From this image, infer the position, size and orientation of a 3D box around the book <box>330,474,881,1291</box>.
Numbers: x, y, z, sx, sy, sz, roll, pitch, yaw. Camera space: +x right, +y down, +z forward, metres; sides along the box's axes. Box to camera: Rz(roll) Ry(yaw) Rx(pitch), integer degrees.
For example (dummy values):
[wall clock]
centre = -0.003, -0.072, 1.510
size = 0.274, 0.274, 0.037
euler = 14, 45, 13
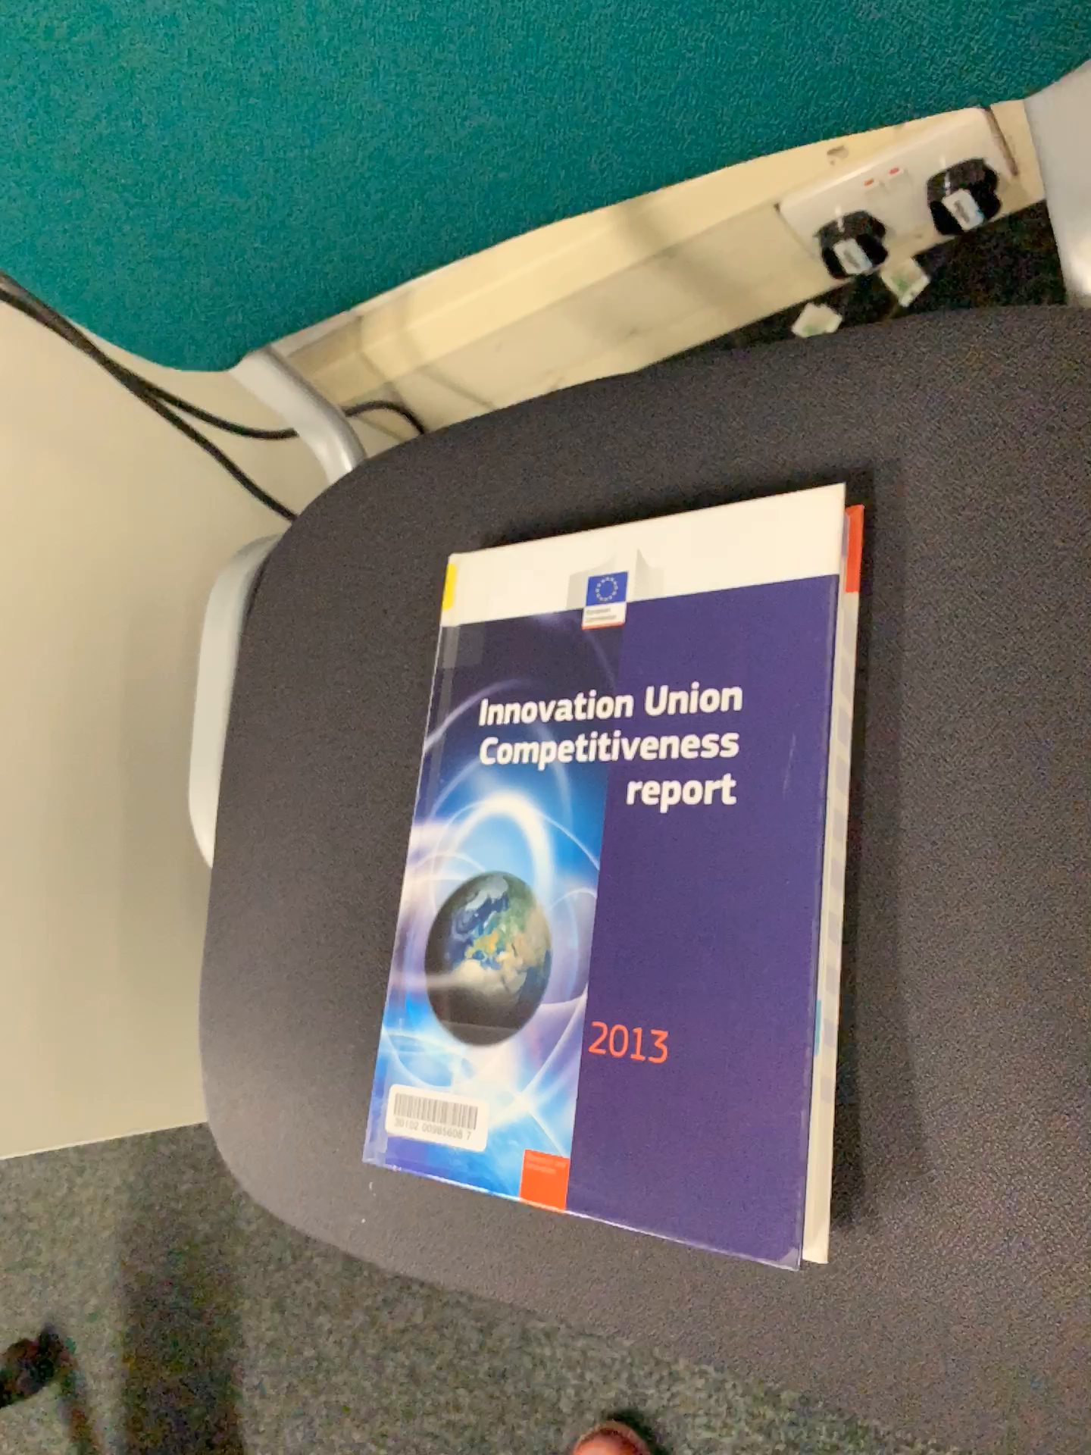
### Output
[book]
centre = 0.016, 0.044, 0.414
size = 0.195, 0.026, 0.250
euler = -3, 73, 39
